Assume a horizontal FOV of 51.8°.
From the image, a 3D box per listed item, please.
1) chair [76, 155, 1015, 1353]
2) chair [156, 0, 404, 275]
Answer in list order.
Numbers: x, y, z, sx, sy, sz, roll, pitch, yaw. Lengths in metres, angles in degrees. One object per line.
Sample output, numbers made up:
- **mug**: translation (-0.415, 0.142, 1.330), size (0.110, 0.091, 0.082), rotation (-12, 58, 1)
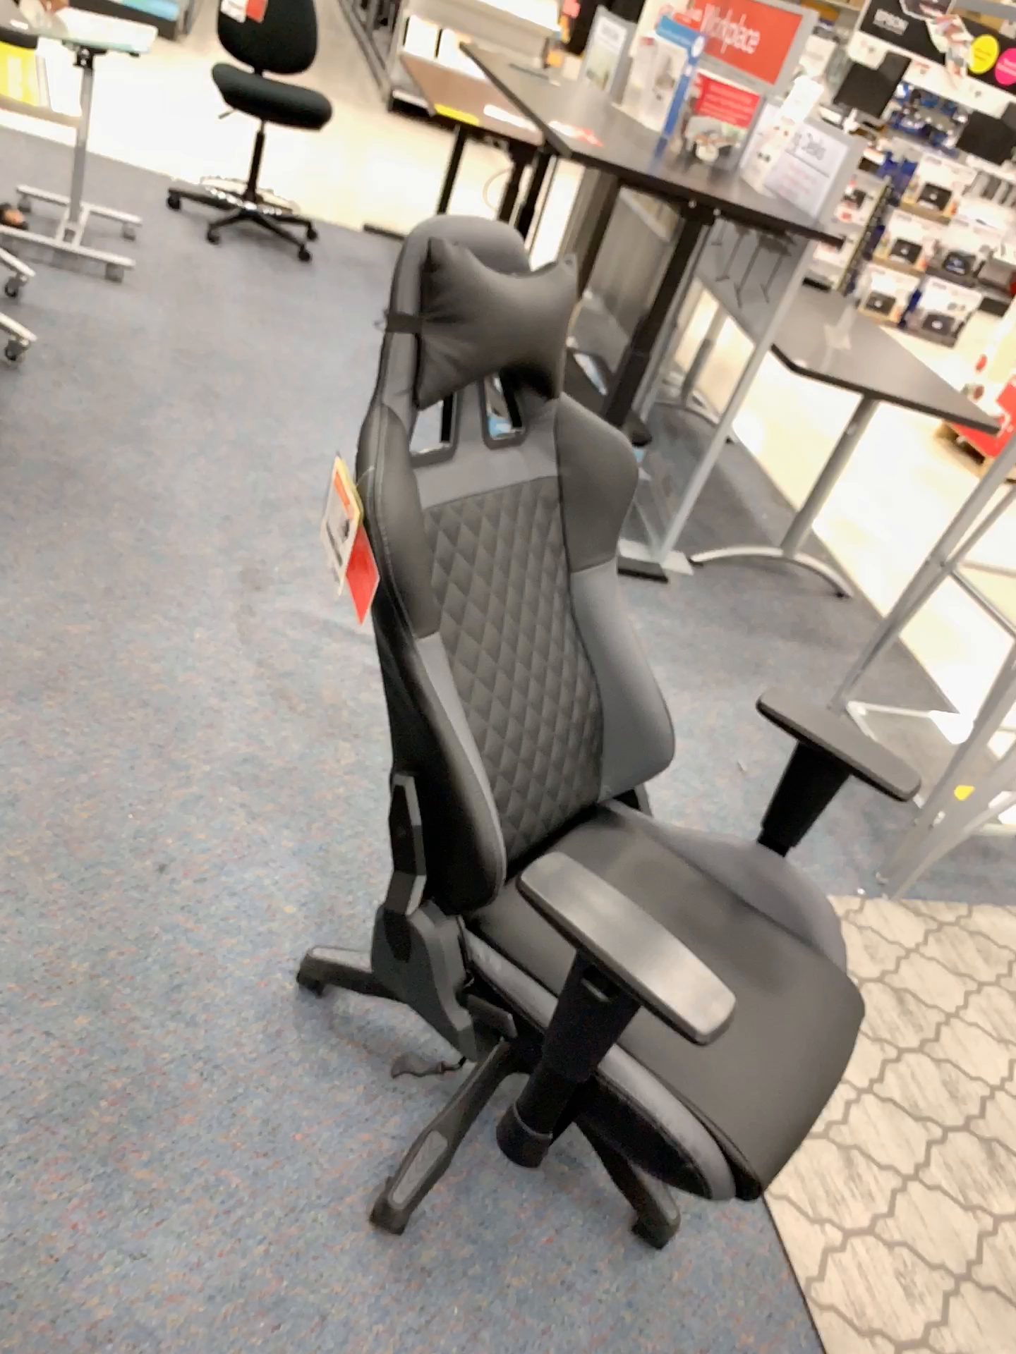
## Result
- **chair**: translation (0.127, 0.092, 1.338), size (0.912, 1.061, 0.789), rotation (36, 35, 20)
- **chair**: translation (-0.984, -2.362, 4.284), size (0.676, 0.982, 0.874), rotation (3, 37, -27)
